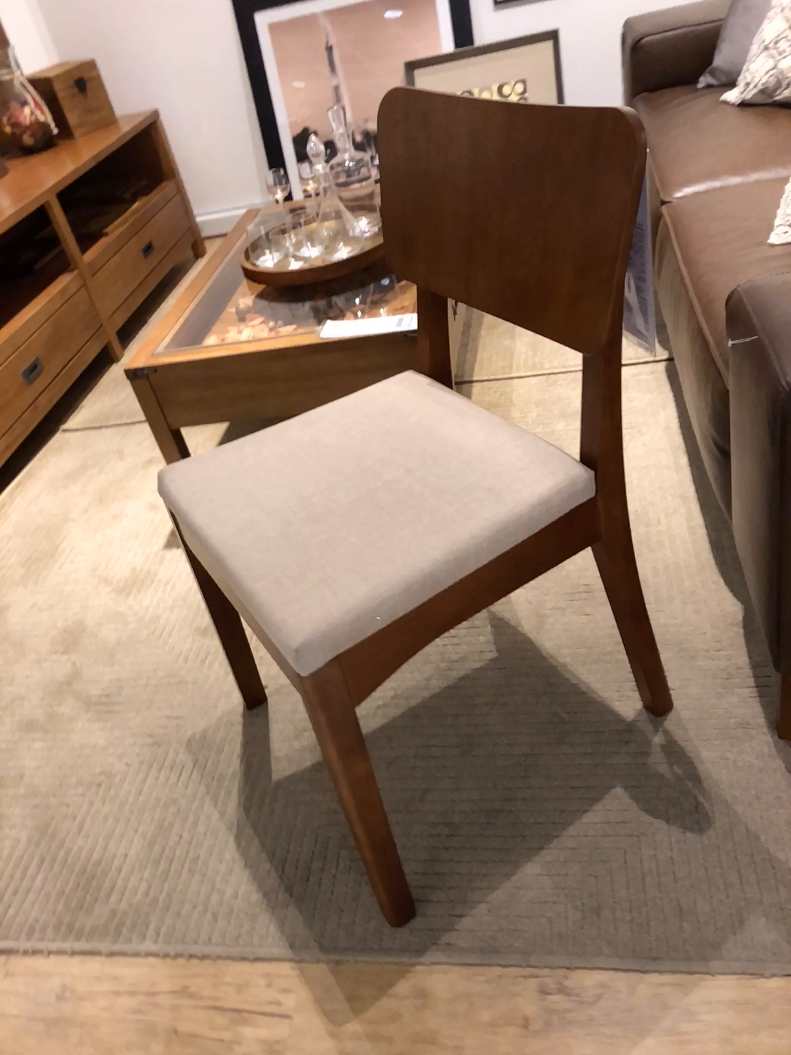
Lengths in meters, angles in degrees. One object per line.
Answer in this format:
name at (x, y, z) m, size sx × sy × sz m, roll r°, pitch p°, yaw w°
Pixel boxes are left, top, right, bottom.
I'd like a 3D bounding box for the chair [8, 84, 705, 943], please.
chair at (-0.002, -0.039, 1.094) m, size 0.531 × 0.794 × 0.513 m, roll -28°, pitch 38°, yaw -18°
